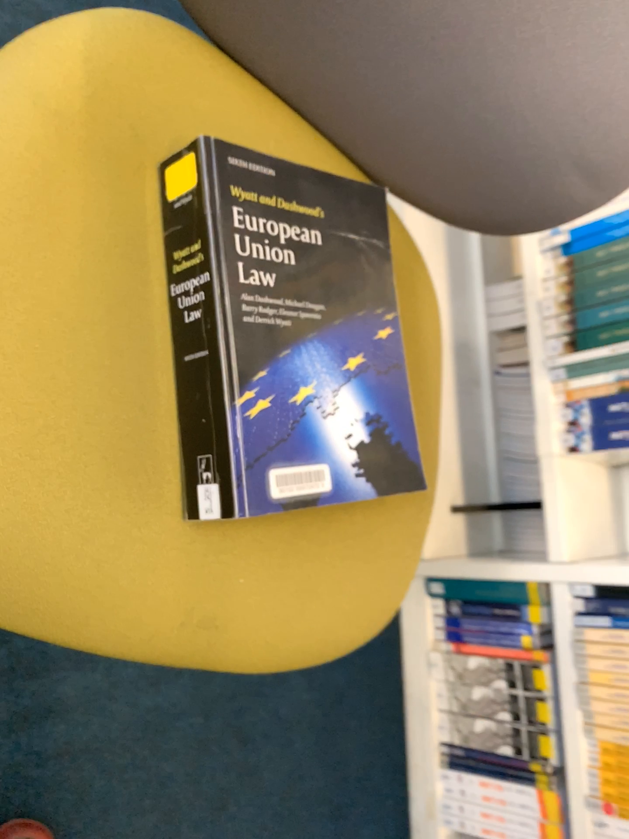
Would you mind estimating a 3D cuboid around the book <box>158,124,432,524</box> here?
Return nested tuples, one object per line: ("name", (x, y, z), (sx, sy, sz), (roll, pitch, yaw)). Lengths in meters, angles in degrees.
("book", (-0.009, -0.061, 0.485), (0.181, 0.060, 0.250), (-2, 83, -42))
